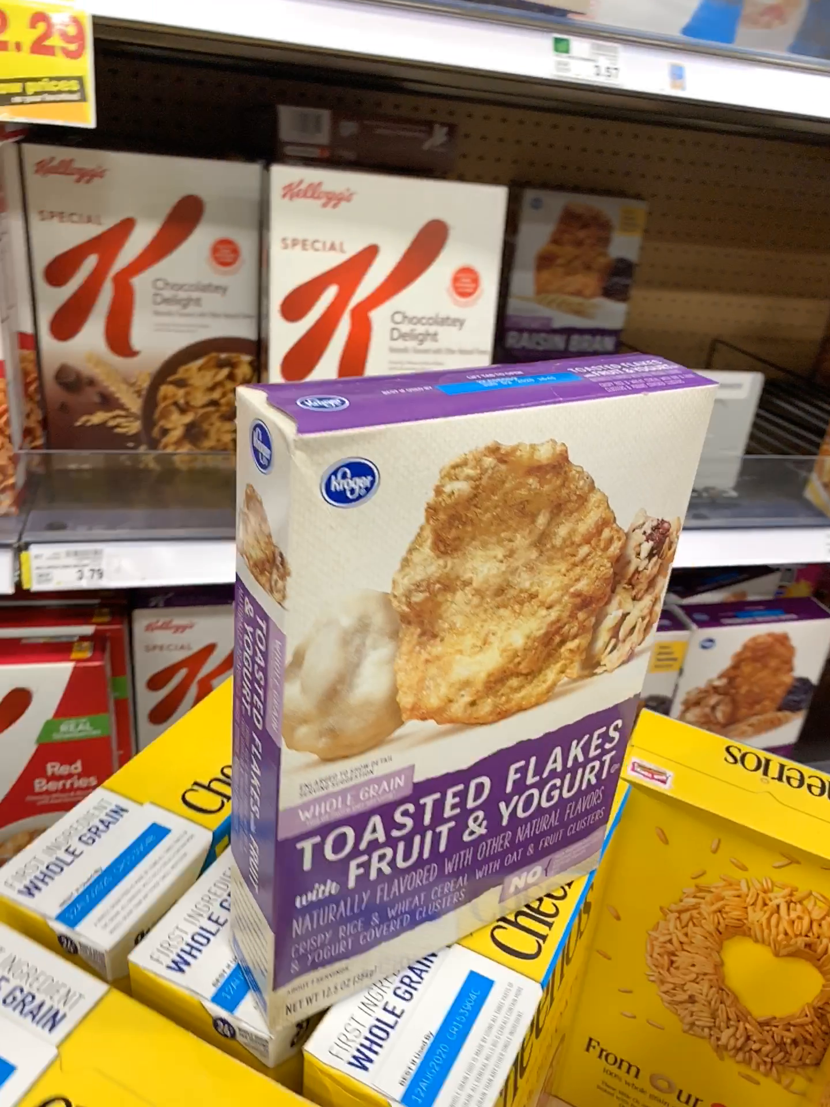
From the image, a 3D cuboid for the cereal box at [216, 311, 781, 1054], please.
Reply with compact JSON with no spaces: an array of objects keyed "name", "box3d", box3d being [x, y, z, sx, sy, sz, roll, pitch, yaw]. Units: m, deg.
[{"name":"cereal box","box3d":[0.025,0.046,0.353,0.200,0.269,0.060,-12,32,-33]}]
